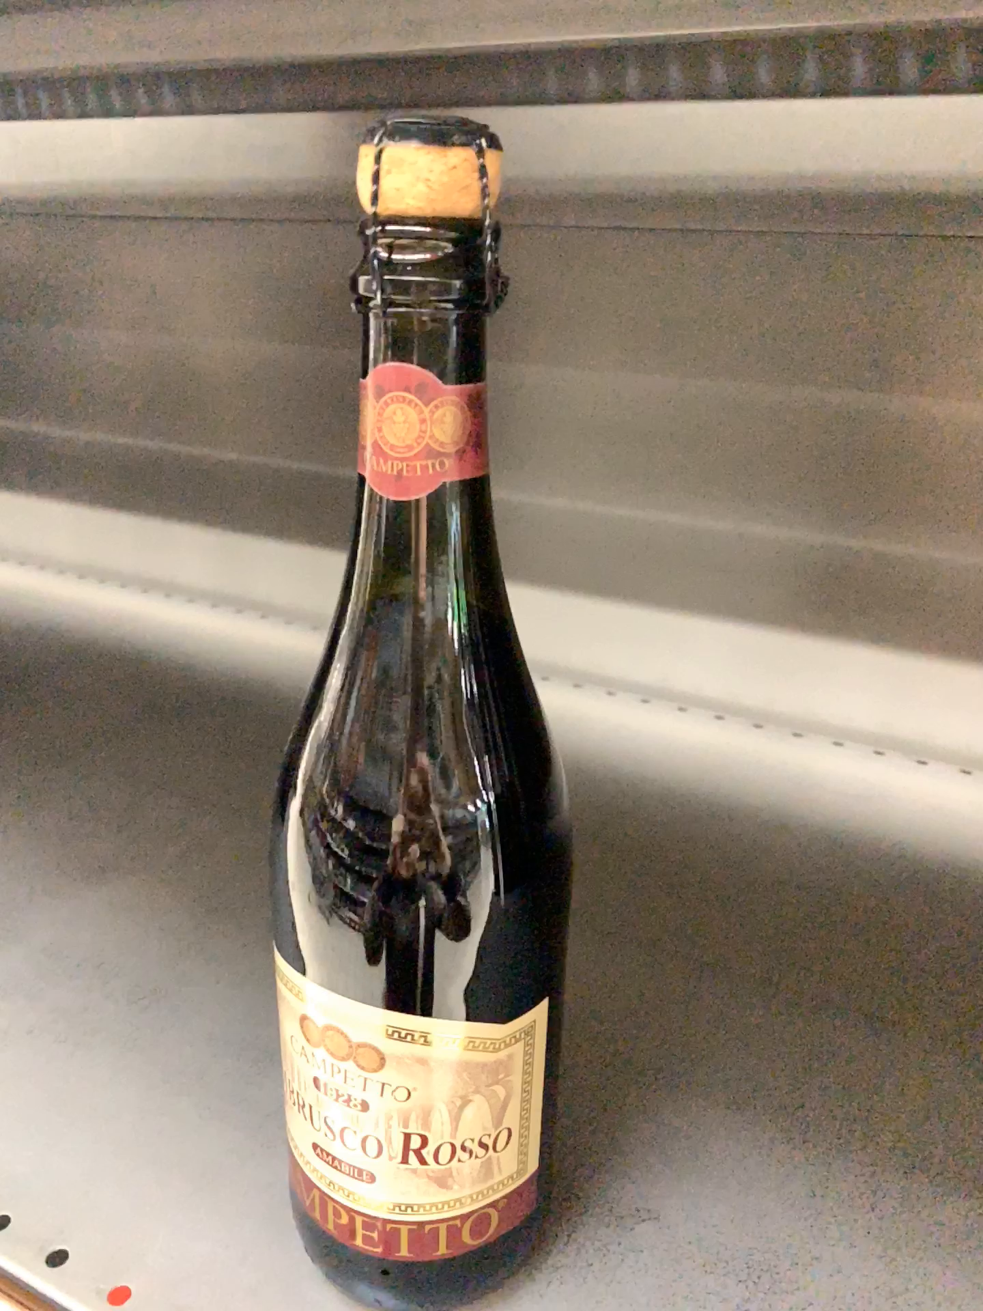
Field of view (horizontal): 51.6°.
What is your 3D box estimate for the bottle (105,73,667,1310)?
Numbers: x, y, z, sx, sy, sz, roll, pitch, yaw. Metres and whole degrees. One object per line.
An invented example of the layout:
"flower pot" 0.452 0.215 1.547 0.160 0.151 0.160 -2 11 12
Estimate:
"bottle" -0.023 0.025 0.268 0.090 0.299 0.080 11 23 22
